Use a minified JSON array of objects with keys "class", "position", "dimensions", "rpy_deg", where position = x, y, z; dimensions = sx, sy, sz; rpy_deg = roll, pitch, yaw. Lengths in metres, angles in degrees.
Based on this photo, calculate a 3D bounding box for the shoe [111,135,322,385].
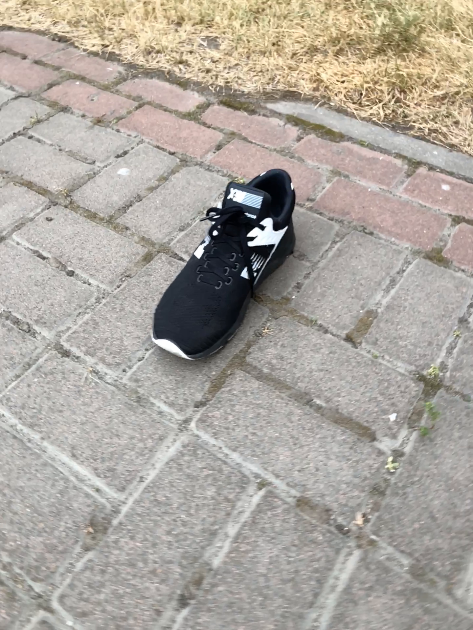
[{"class":"shoe","position":[-0.009,-0.077,0.620],"dimensions":[0.100,0.129,0.281],"rpy_deg":[24,54,19]}]
